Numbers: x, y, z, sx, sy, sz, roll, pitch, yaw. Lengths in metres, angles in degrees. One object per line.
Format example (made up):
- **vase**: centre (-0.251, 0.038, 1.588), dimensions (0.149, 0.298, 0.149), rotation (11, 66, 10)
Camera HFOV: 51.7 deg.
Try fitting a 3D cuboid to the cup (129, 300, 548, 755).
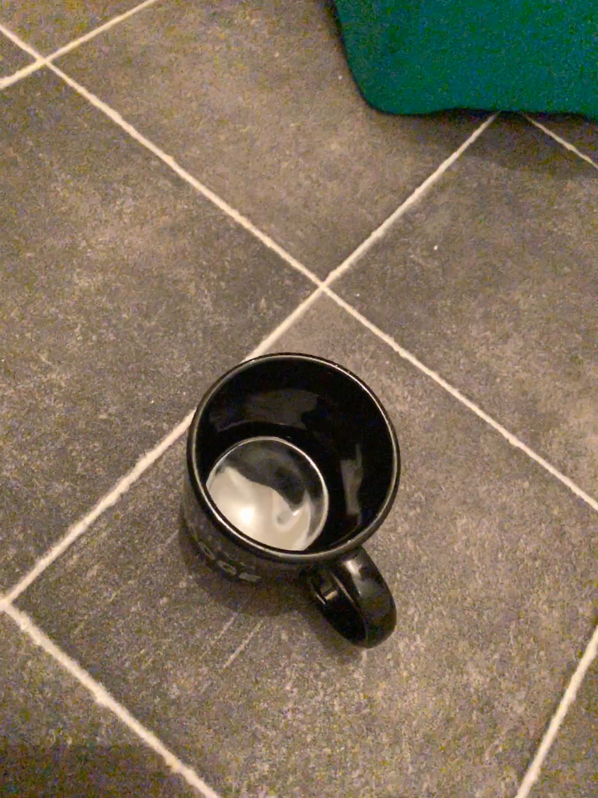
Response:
- **cup**: centre (0.005, 0.053, 0.262), dimensions (0.090, 0.099, 0.130), rotation (-33, 78, -23)
